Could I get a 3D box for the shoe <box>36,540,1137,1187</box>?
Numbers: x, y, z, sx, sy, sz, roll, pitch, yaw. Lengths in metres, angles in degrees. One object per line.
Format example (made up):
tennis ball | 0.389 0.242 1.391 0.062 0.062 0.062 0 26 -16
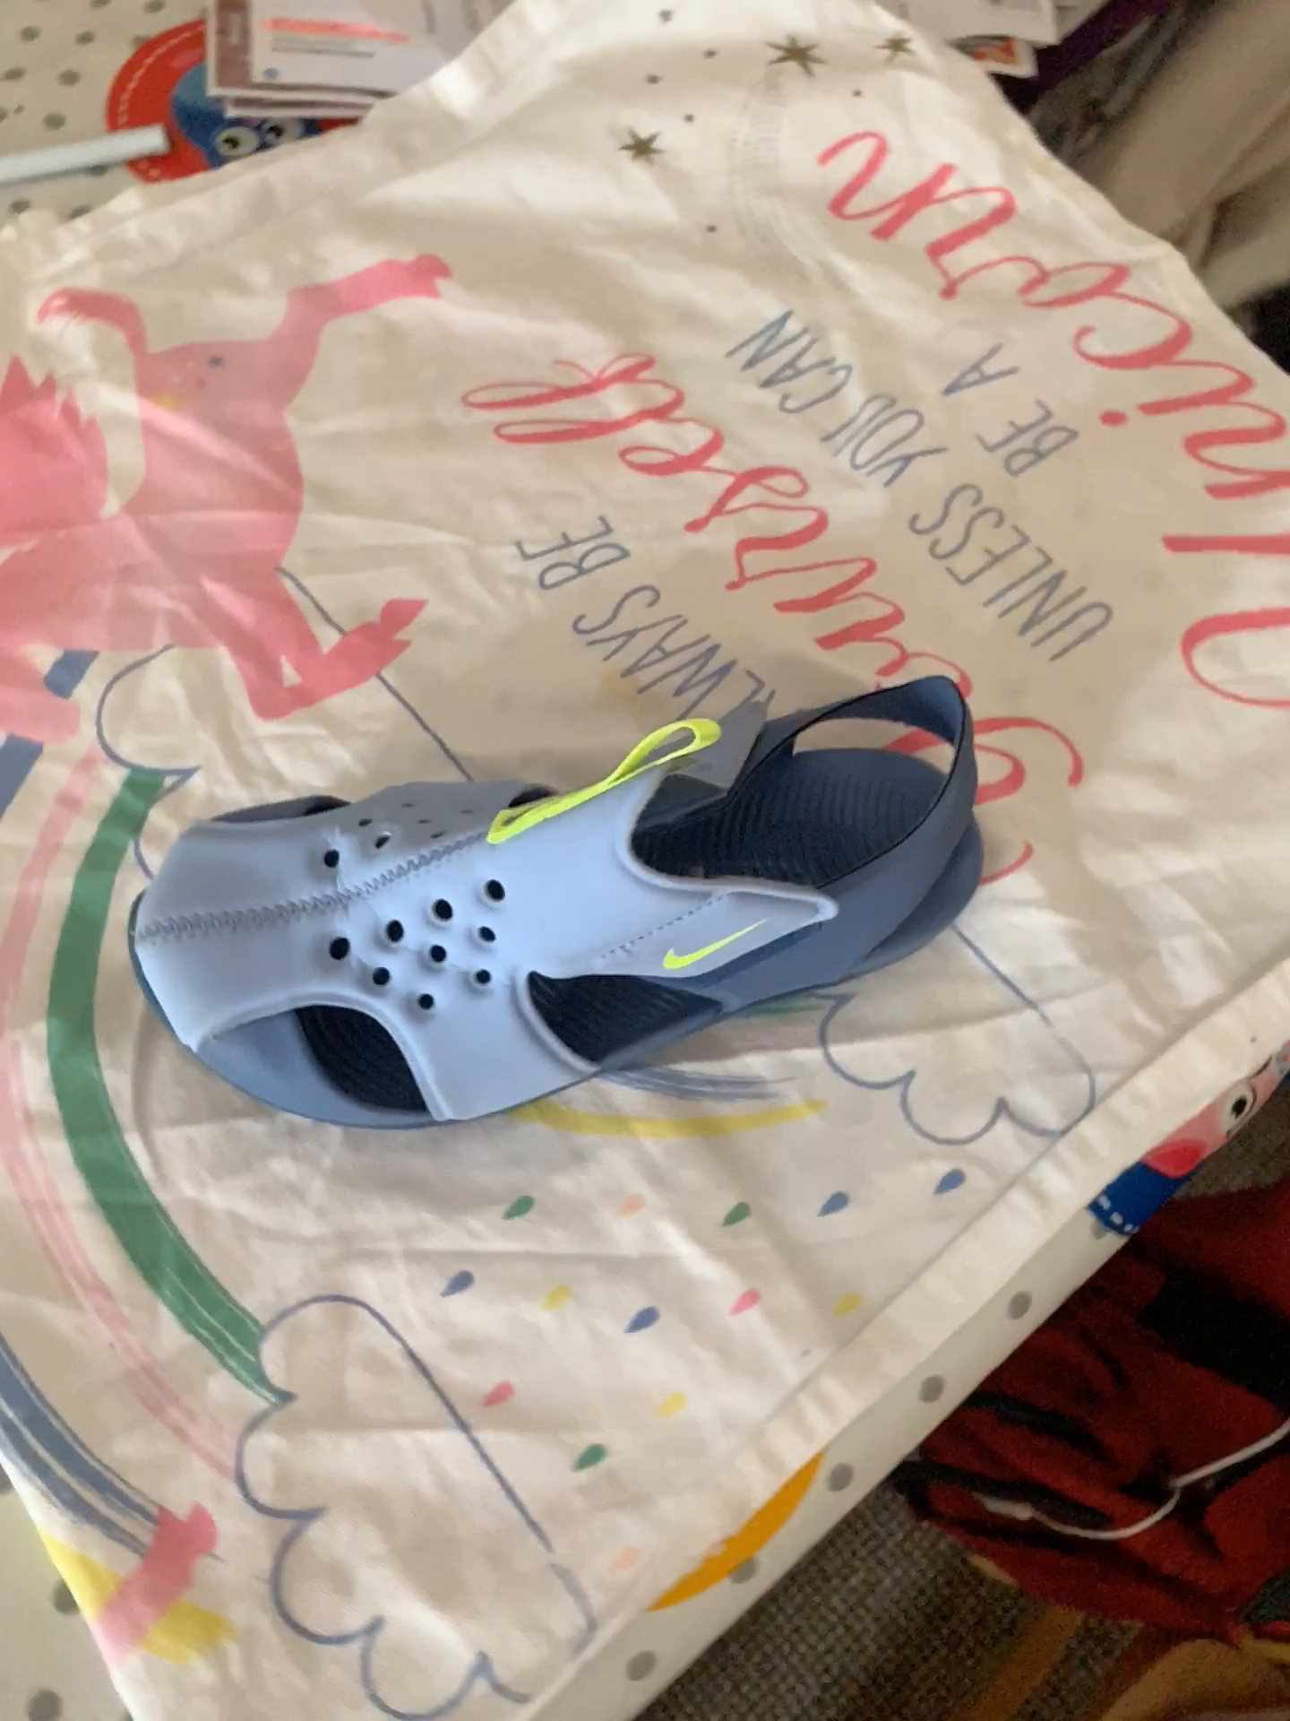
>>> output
shoe | -0.015 0.003 0.319 0.216 0.090 0.087 -11 68 -7
